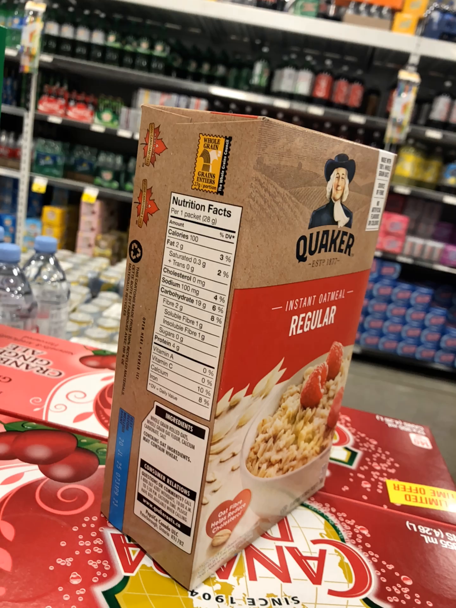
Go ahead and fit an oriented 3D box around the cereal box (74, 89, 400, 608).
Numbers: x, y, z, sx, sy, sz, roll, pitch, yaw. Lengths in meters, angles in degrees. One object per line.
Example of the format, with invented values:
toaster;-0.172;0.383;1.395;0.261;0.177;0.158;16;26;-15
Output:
cereal box;0.007;0.014;0.255;0.070;0.199;0.130;18;17;34
